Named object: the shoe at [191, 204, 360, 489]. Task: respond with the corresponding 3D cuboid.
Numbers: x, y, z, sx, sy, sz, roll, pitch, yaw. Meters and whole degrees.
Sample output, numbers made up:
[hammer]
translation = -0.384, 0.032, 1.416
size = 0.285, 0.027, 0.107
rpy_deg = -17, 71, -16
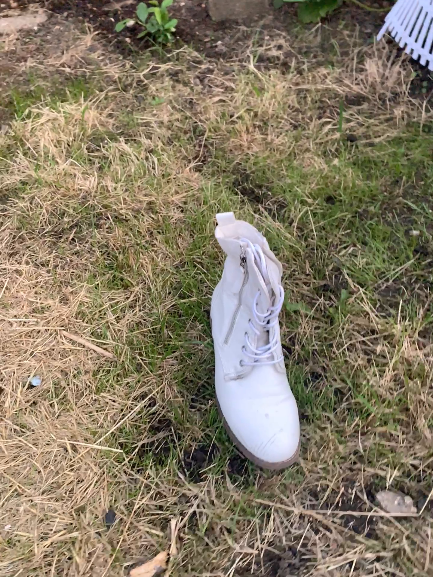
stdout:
[shoe]
translation = 0.048, 0.063, 0.518
size = 0.100, 0.178, 0.262
rpy_deg = -11, 51, -5
